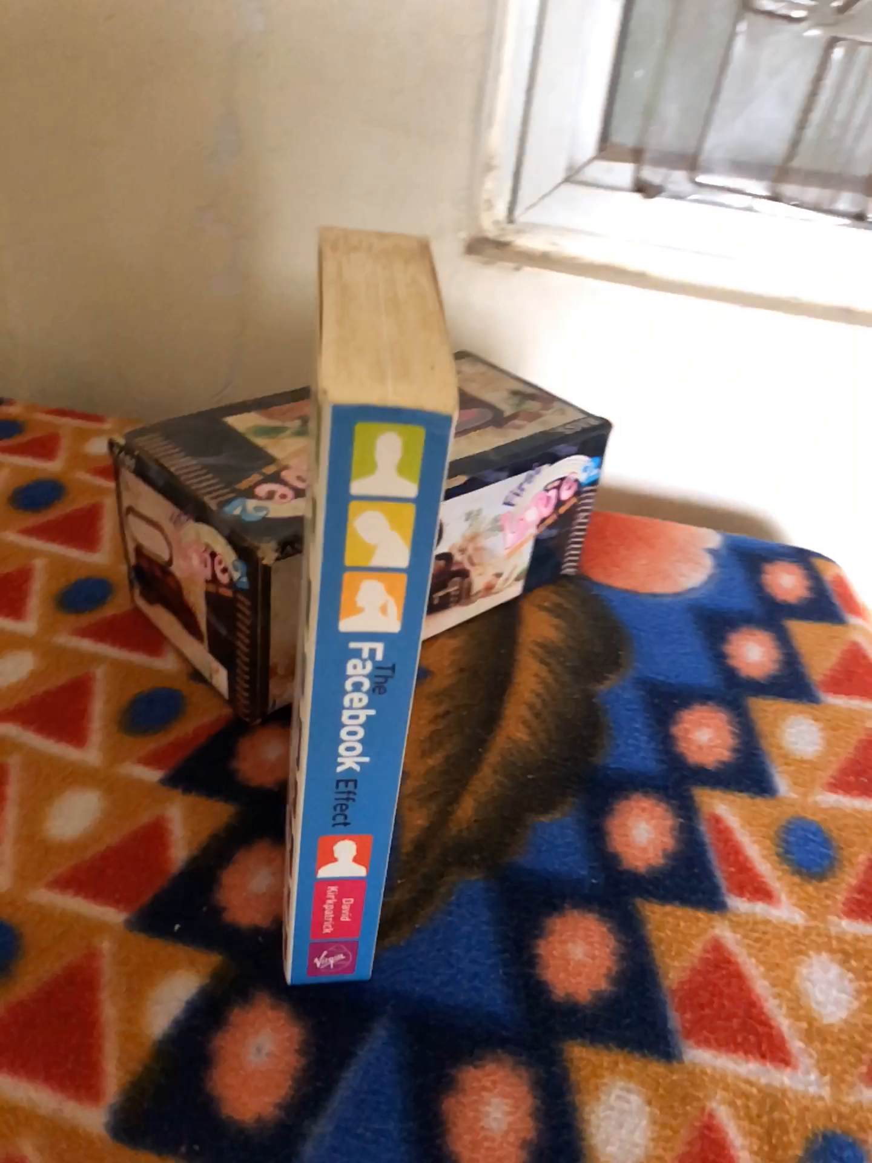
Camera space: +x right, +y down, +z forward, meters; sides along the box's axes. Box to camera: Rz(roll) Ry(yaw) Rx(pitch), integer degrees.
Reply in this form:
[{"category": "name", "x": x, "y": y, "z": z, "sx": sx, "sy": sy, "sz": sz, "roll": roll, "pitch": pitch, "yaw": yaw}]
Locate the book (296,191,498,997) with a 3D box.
[{"category": "book", "x": -0.024, "y": 0.004, "z": 0.322, "sx": 0.040, "sy": 0.219, "sz": 0.151, "roll": 1, "pitch": 34, "yaw": -8}]
